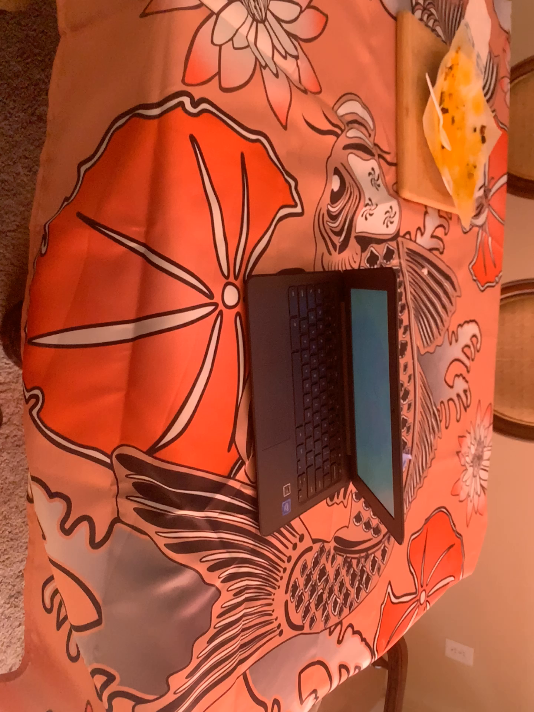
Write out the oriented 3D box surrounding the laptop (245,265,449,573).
[{"bbox_3d":[0.106,0.049,0.649,0.212,0.144,0.299,-14,103,-51],"label":"laptop"}]
